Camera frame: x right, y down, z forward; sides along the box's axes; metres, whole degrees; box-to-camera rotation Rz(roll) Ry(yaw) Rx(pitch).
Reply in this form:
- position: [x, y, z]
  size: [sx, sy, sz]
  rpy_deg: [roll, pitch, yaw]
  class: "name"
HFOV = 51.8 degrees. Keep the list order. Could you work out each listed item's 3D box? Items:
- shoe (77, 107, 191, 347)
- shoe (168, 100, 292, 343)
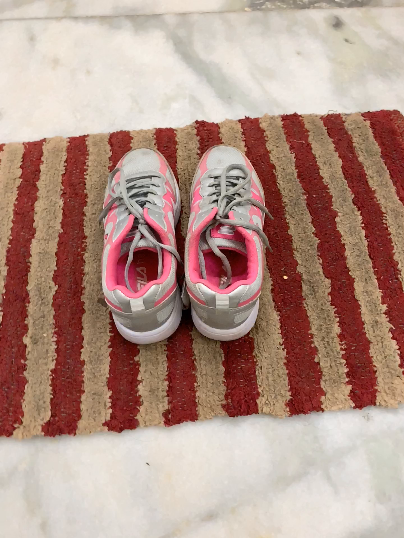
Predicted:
- position: [-0.066, -0.047, 0.443]
  size: [0.090, 0.100, 0.231]
  rpy_deg: [-4, 64, 0]
  class: "shoe"
- position: [0.029, -0.052, 0.430]
  size: [0.100, 0.100, 0.231]
  rpy_deg: [1, 64, 3]
  class: "shoe"
